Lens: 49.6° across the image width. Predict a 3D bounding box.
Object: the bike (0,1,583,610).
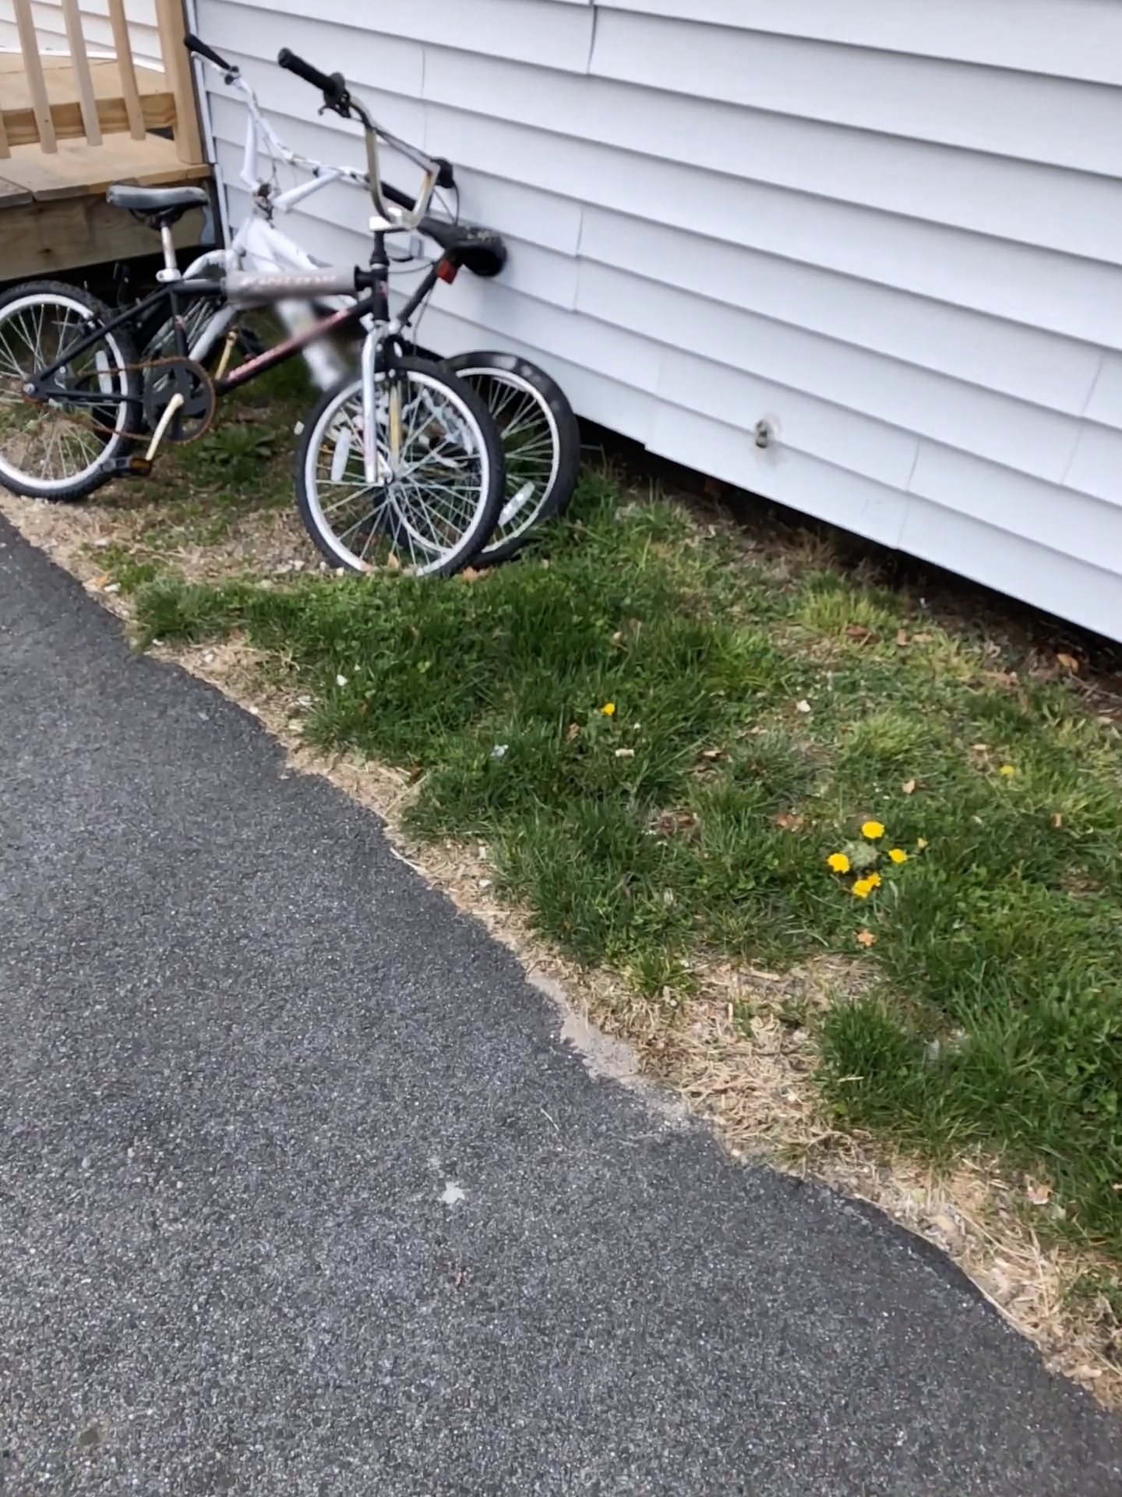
[{"bbox_3d":[-0.688,-0.966,2.523,1.295,0.932,0.762,10,38,14],"label":"bike"}]
